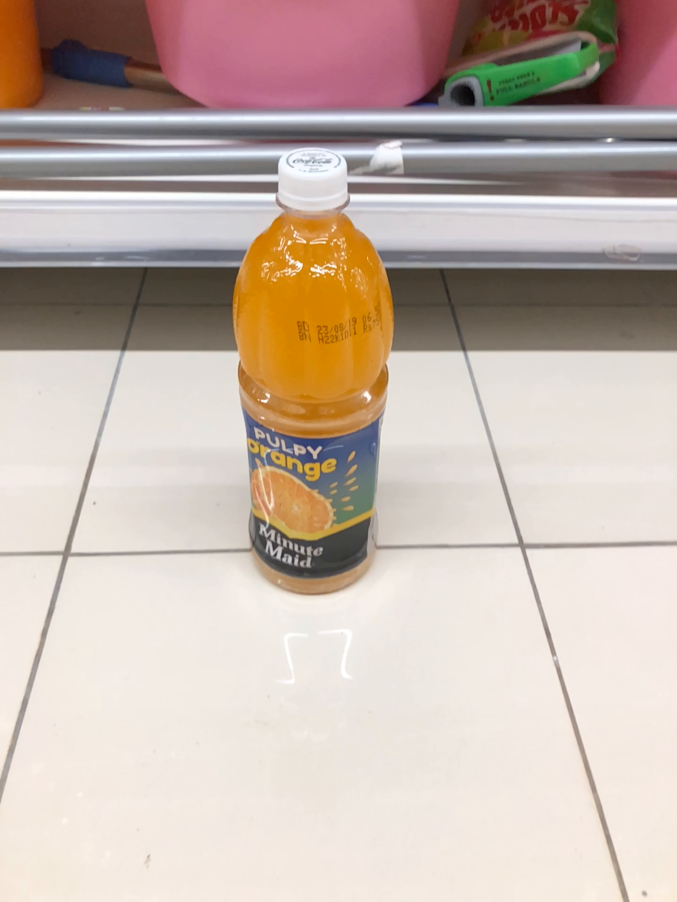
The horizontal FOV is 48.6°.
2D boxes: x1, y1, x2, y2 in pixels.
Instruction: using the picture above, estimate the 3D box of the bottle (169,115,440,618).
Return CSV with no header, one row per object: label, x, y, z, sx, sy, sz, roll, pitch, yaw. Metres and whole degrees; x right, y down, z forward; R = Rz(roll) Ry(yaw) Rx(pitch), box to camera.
bottle,-0.013,-0.032,0.400,0.090,0.245,0.091,1,42,-1
